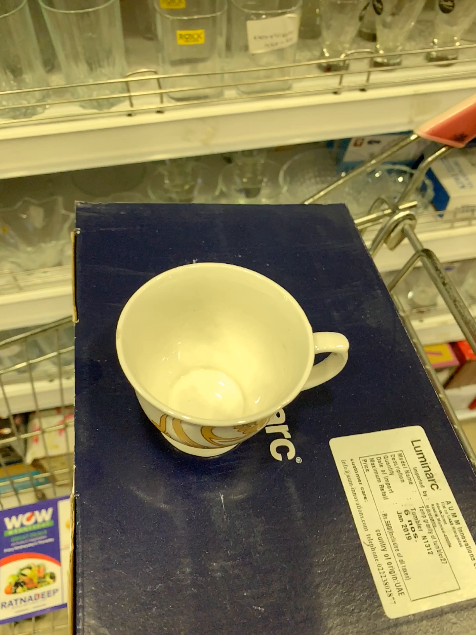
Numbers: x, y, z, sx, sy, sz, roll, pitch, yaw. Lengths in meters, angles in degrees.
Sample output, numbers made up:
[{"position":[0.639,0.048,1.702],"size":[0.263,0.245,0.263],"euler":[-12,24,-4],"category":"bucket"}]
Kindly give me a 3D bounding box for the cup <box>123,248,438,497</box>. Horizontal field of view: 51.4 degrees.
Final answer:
[{"position":[0.008,0.017,0.175],"size":[0.090,0.040,0.070],"euler":[-4,54,-9],"category":"cup"}]
